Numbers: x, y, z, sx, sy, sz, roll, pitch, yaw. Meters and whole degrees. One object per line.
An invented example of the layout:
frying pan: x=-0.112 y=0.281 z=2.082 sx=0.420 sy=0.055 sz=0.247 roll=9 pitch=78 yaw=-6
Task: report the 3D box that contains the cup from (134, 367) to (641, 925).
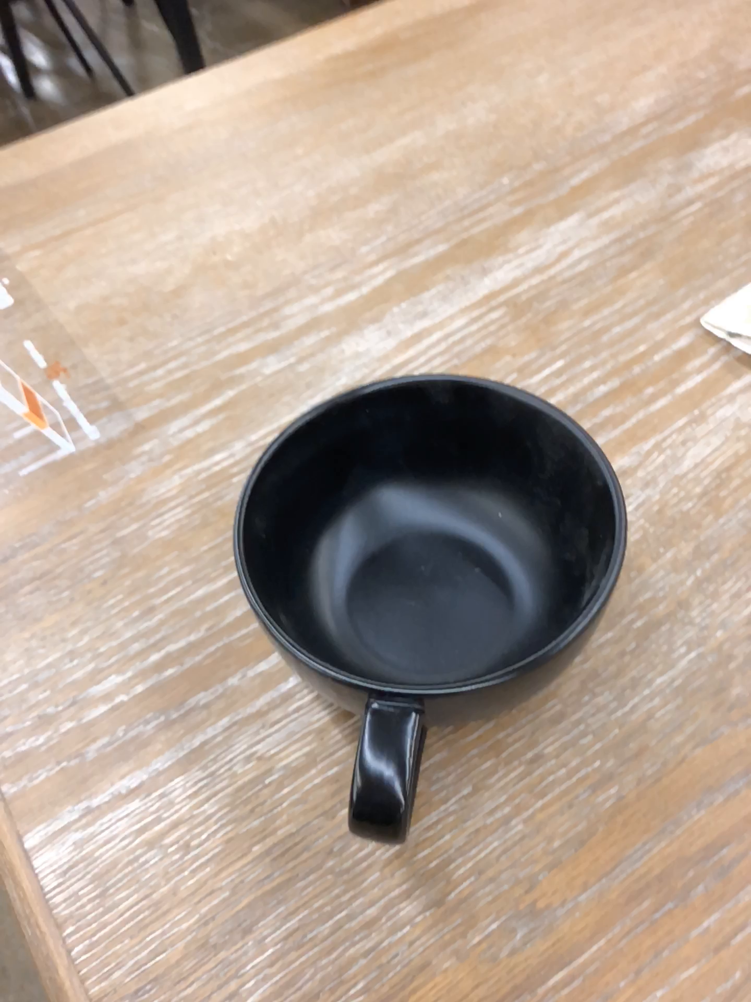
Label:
cup: x=0.017 y=0.037 z=0.296 sx=0.137 sy=0.054 sz=0.175 roll=6 pitch=52 yaw=10
